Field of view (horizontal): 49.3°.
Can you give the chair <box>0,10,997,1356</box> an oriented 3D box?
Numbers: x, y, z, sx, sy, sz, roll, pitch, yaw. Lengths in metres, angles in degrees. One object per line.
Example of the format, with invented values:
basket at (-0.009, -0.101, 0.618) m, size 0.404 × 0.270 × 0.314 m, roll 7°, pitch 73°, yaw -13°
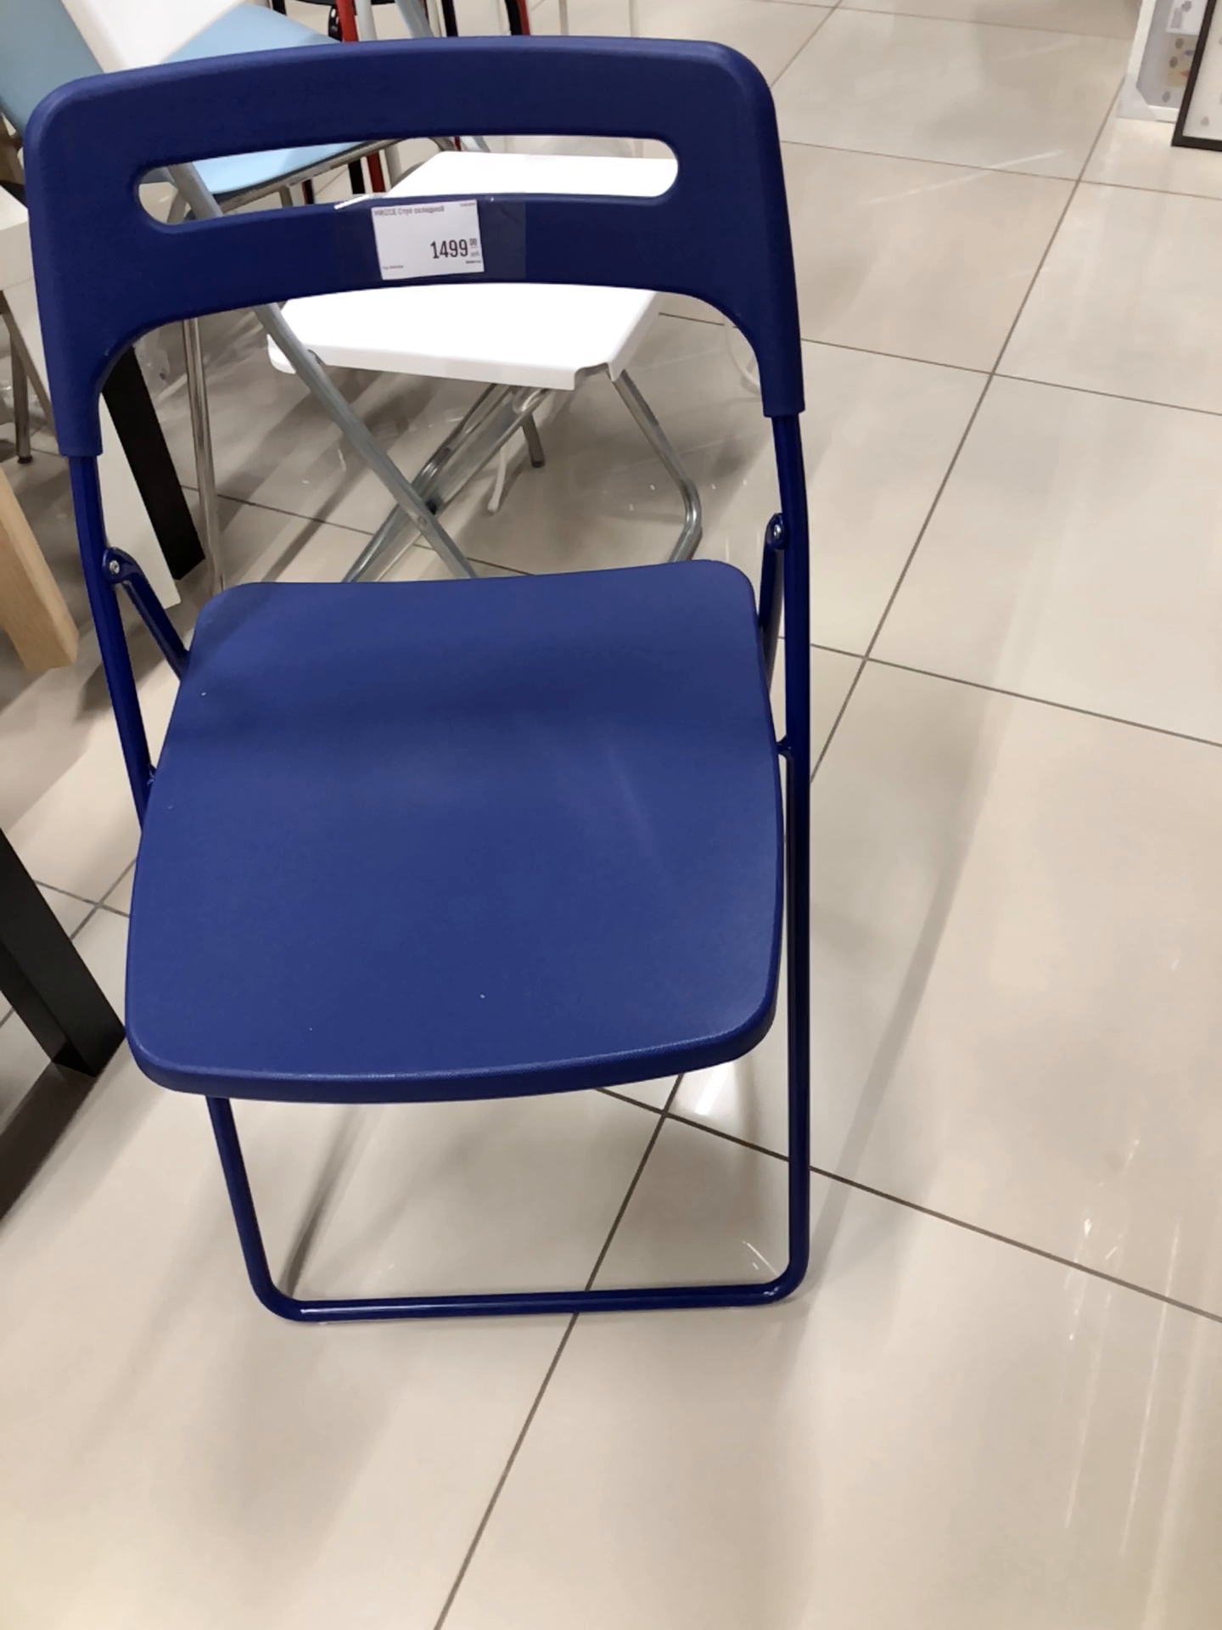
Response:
chair at (-0.087, -0.022, 0.848) m, size 0.450 × 0.705 × 0.468 m, roll -3°, pitch 49°, yaw 2°
